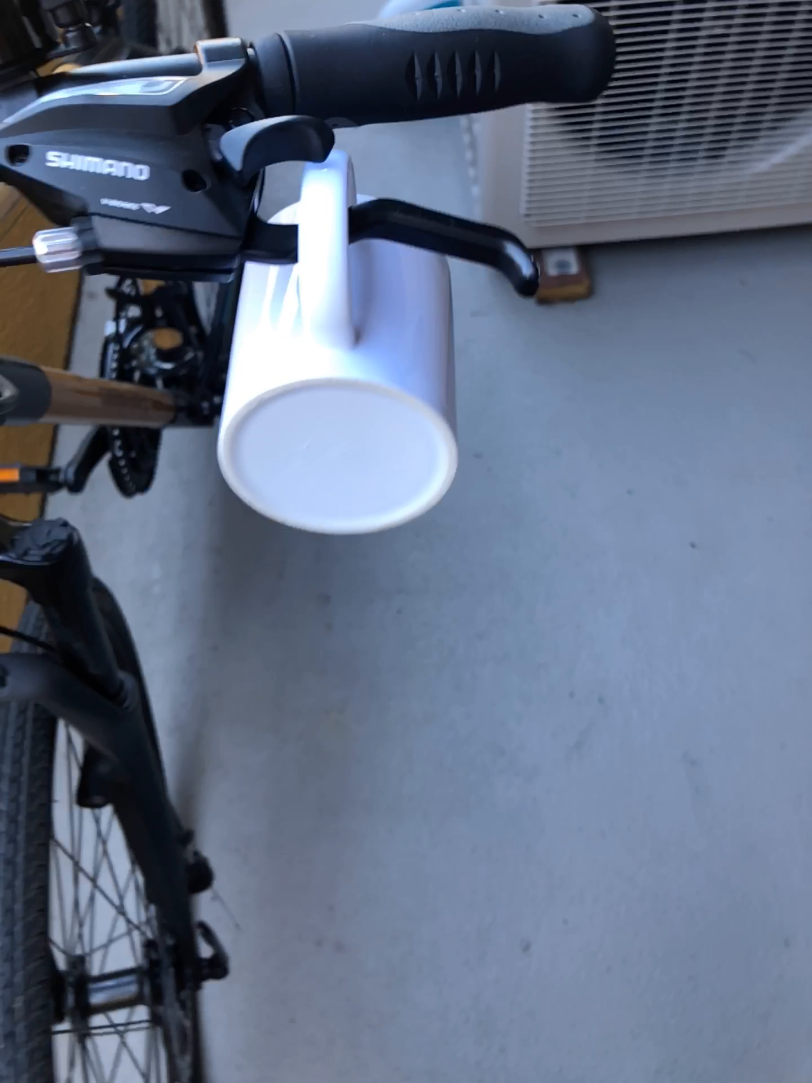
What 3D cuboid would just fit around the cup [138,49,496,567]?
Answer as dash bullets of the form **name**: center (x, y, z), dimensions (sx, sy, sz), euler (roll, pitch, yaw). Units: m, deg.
- **cup**: center (-0.024, -0.077, 0.322), dimensions (0.090, 0.120, 0.120), euler (6, 58, 0)
